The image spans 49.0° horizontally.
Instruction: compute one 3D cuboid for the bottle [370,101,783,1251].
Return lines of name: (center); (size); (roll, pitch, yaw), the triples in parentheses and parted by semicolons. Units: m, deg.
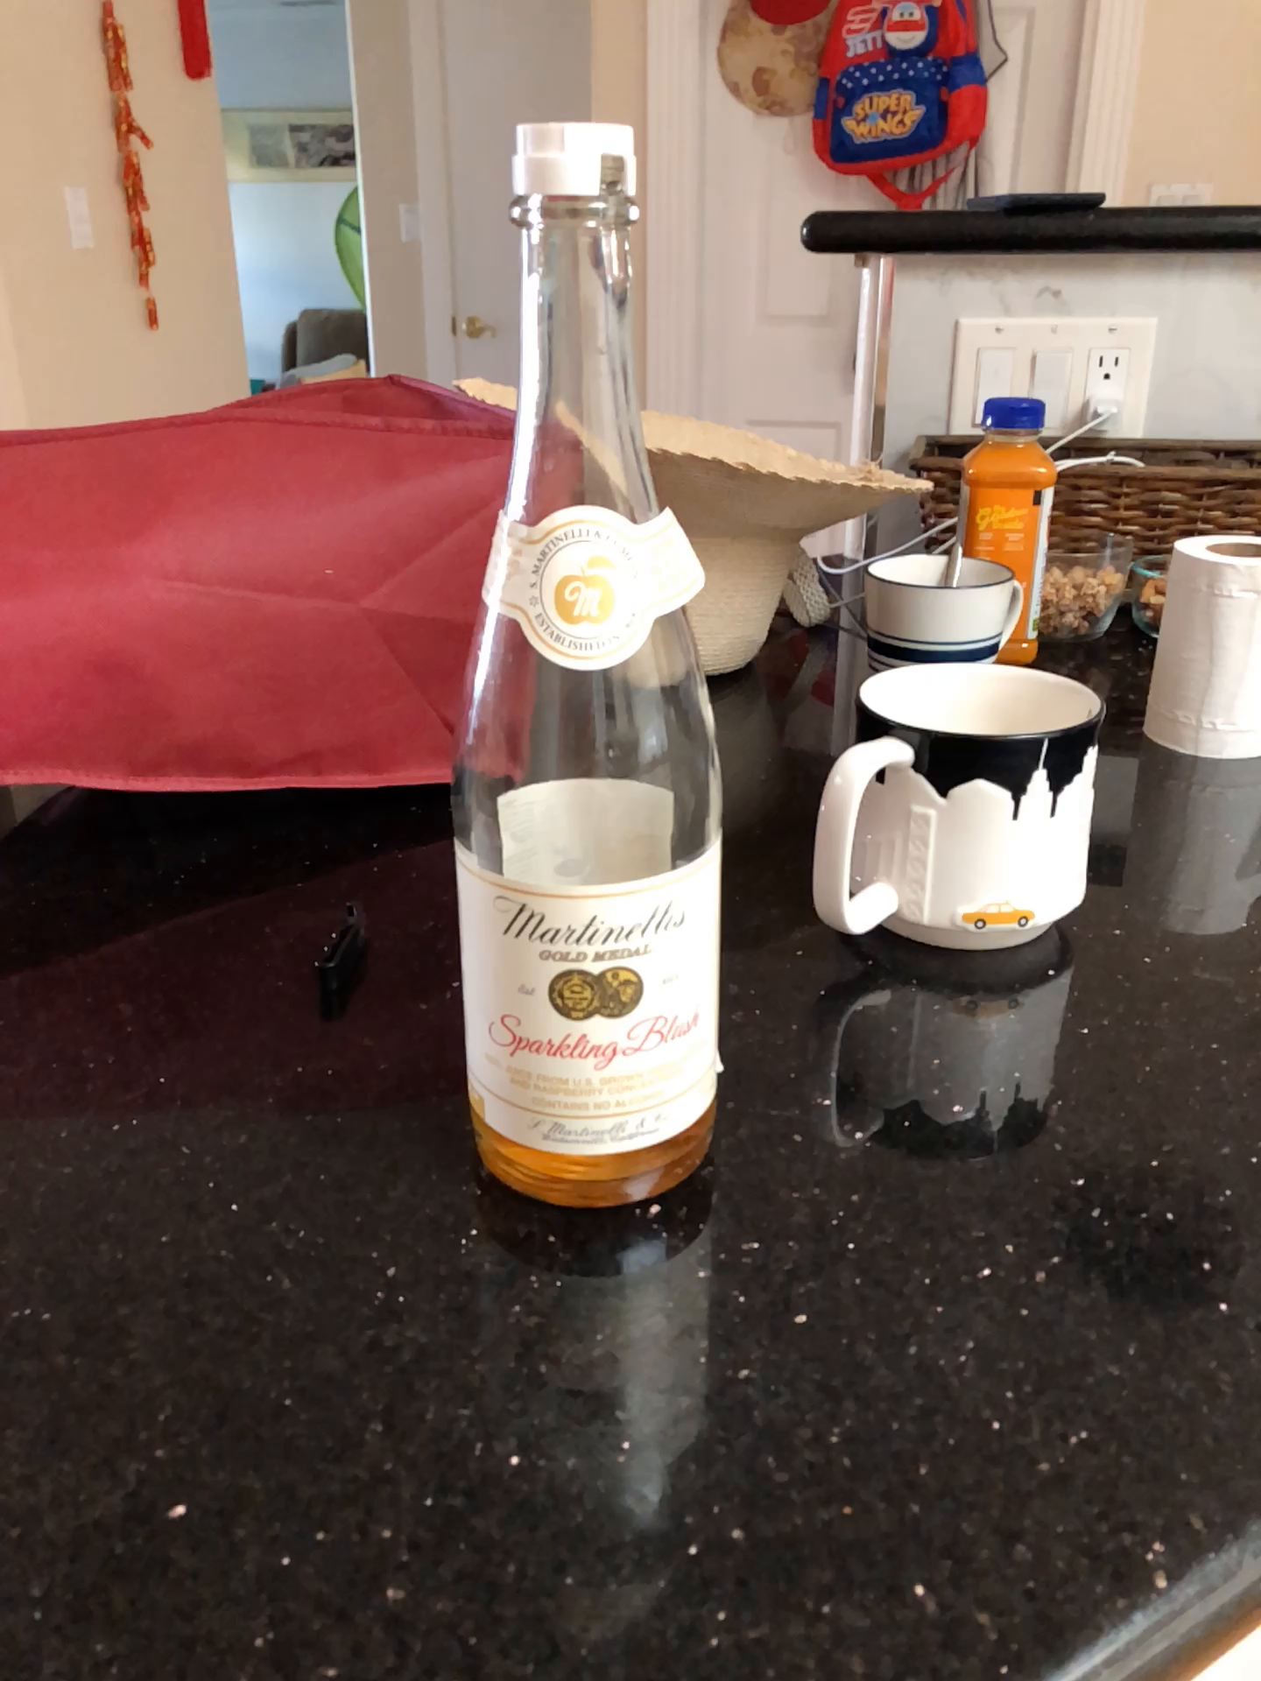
bottle: (-0.014, -0.038, 0.426); (0.093, 0.330, 0.101); (0, 25, 0)
